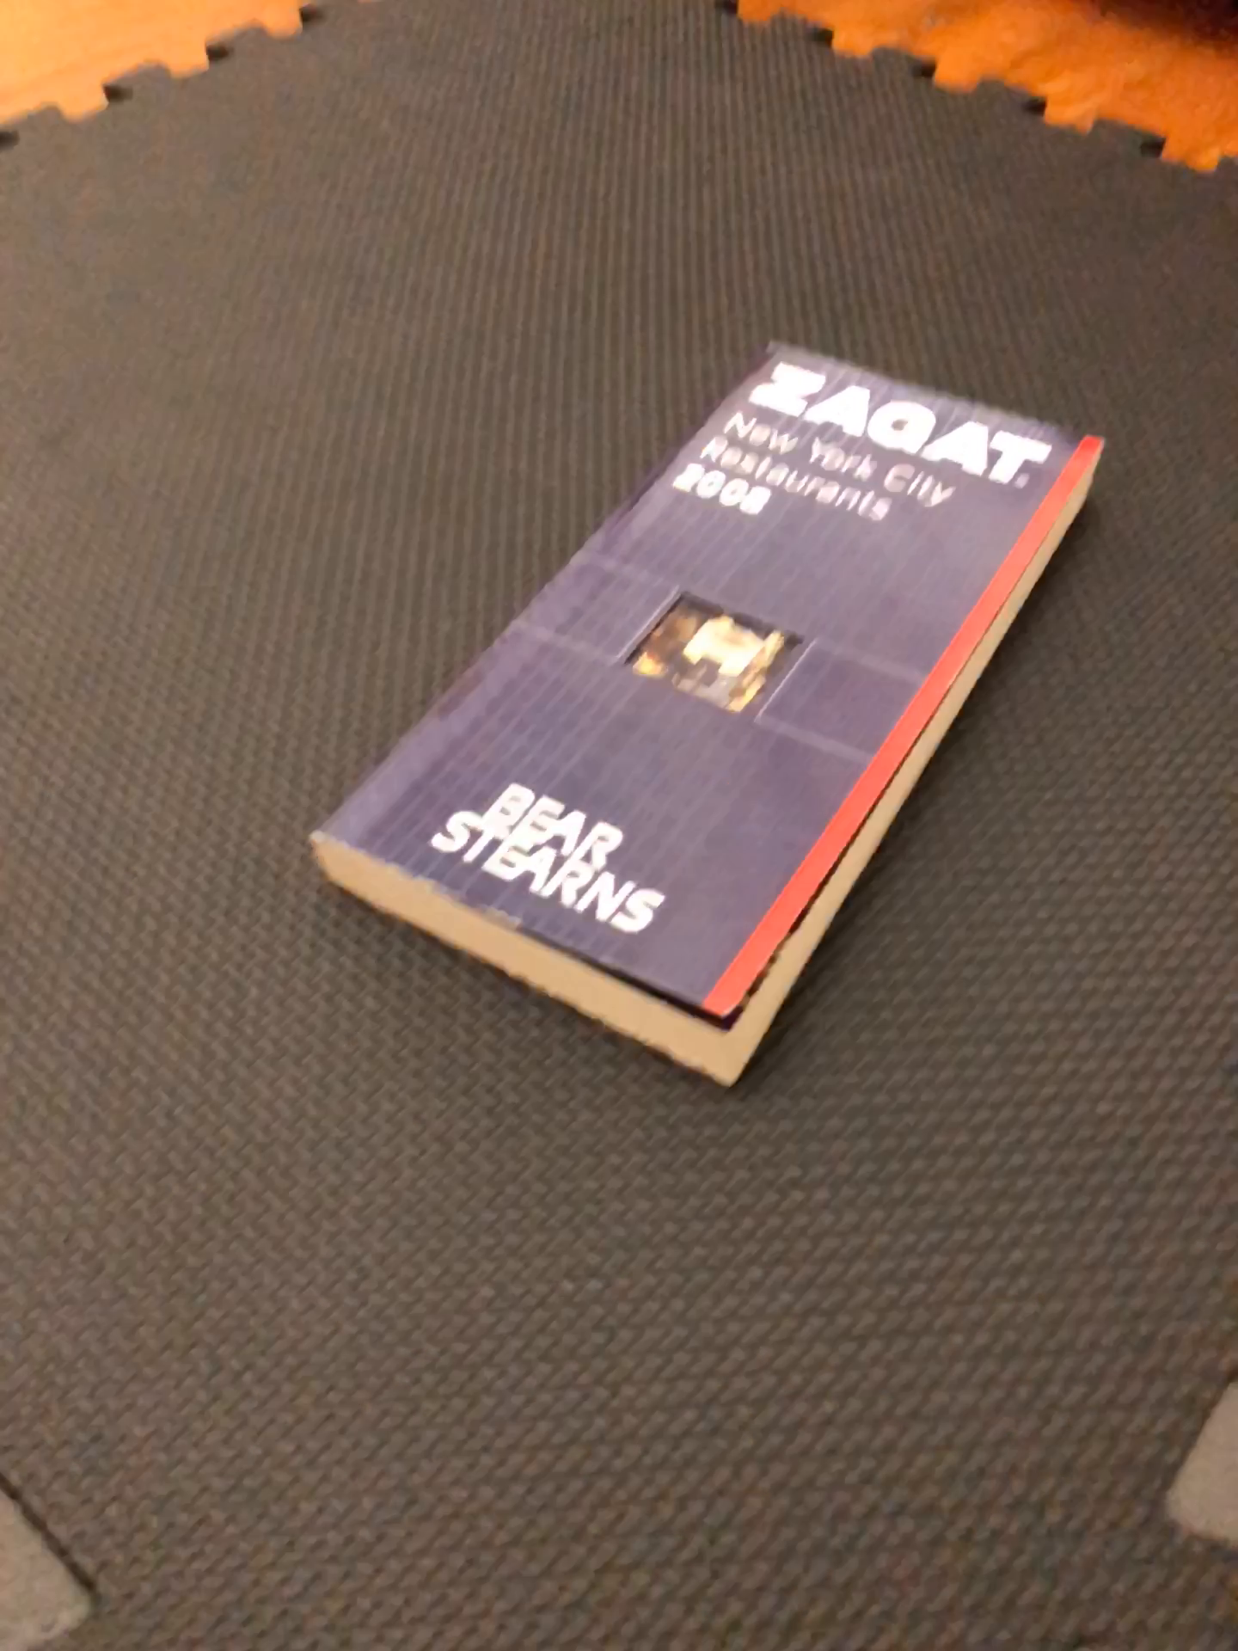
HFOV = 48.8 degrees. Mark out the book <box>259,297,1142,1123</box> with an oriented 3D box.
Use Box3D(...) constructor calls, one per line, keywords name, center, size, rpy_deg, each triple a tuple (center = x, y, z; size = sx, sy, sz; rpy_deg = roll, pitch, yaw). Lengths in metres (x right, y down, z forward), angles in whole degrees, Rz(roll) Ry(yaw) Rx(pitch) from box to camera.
Box3D(name="book", center=(0.032, -0.049, 0.338), size=(0.120, 0.030, 0.221), rpy_deg=(25, 56, 19))
